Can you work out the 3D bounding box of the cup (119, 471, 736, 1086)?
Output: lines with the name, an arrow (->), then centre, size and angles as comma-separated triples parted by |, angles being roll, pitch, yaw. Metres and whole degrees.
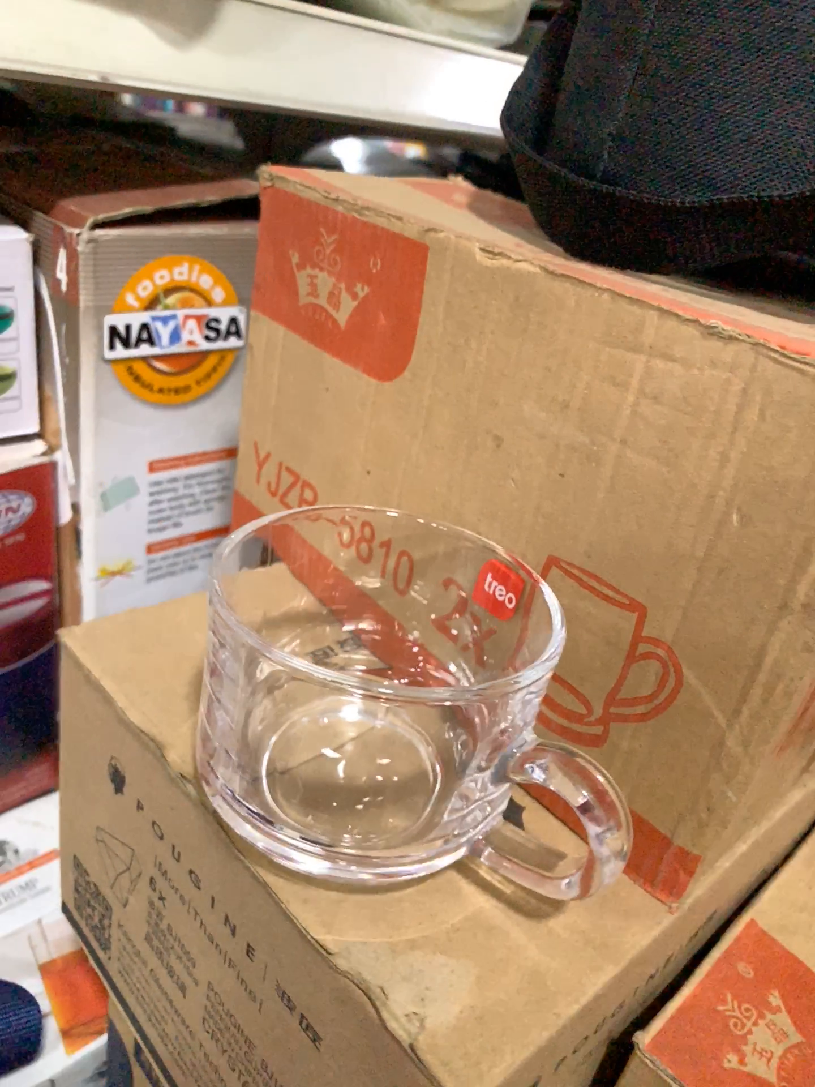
cup -> -0.003, 0.039, 0.185 | 0.072, 0.061, 0.105 | -17, 38, -42
